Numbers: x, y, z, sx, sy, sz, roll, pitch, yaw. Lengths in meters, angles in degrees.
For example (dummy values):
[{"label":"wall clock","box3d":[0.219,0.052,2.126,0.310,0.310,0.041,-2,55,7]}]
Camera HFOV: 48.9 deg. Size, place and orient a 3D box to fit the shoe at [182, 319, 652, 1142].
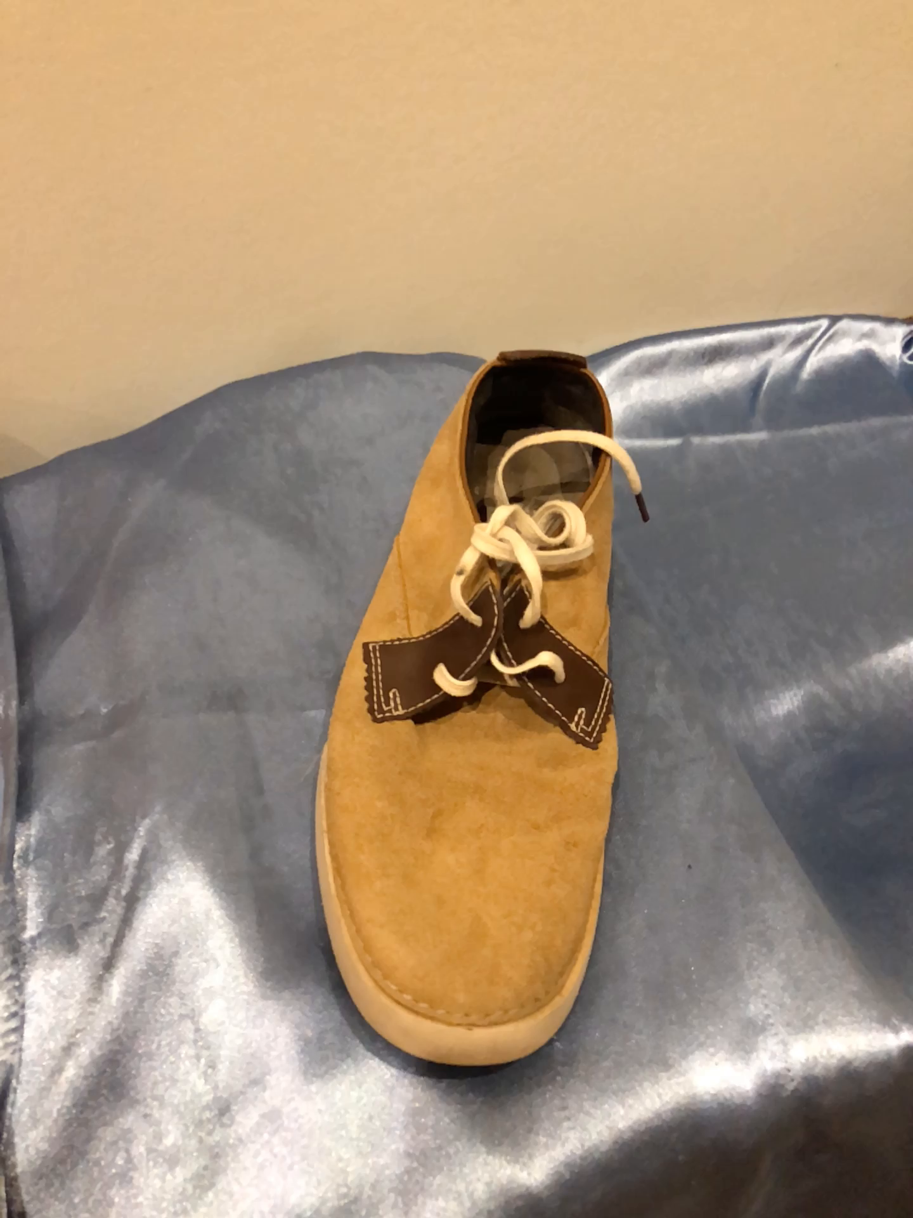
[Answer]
[{"label":"shoe","box3d":[0.005,0.029,0.410,0.120,0.119,0.302,7,53,5]}]
